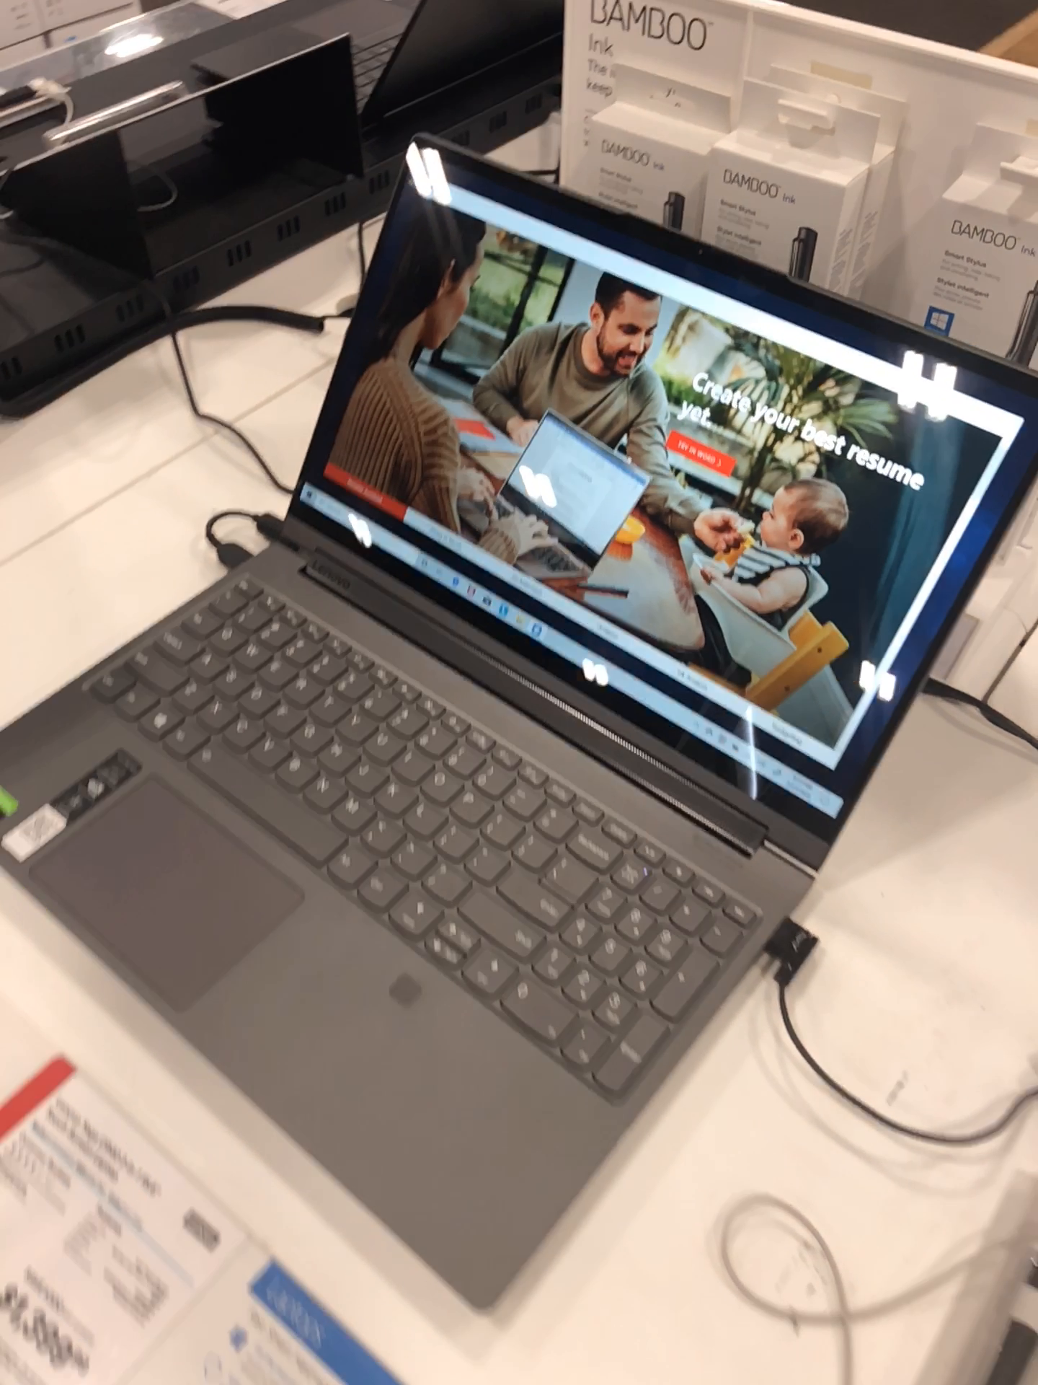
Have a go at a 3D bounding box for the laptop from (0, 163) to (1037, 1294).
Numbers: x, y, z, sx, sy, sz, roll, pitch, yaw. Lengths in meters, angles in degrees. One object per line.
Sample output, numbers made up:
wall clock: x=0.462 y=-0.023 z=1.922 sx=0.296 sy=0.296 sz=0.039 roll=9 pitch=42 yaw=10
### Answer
laptop: x=-0.032 y=-0.032 z=0.504 sx=0.346 sy=0.189 sz=0.368 roll=32 pitch=54 yaw=24
